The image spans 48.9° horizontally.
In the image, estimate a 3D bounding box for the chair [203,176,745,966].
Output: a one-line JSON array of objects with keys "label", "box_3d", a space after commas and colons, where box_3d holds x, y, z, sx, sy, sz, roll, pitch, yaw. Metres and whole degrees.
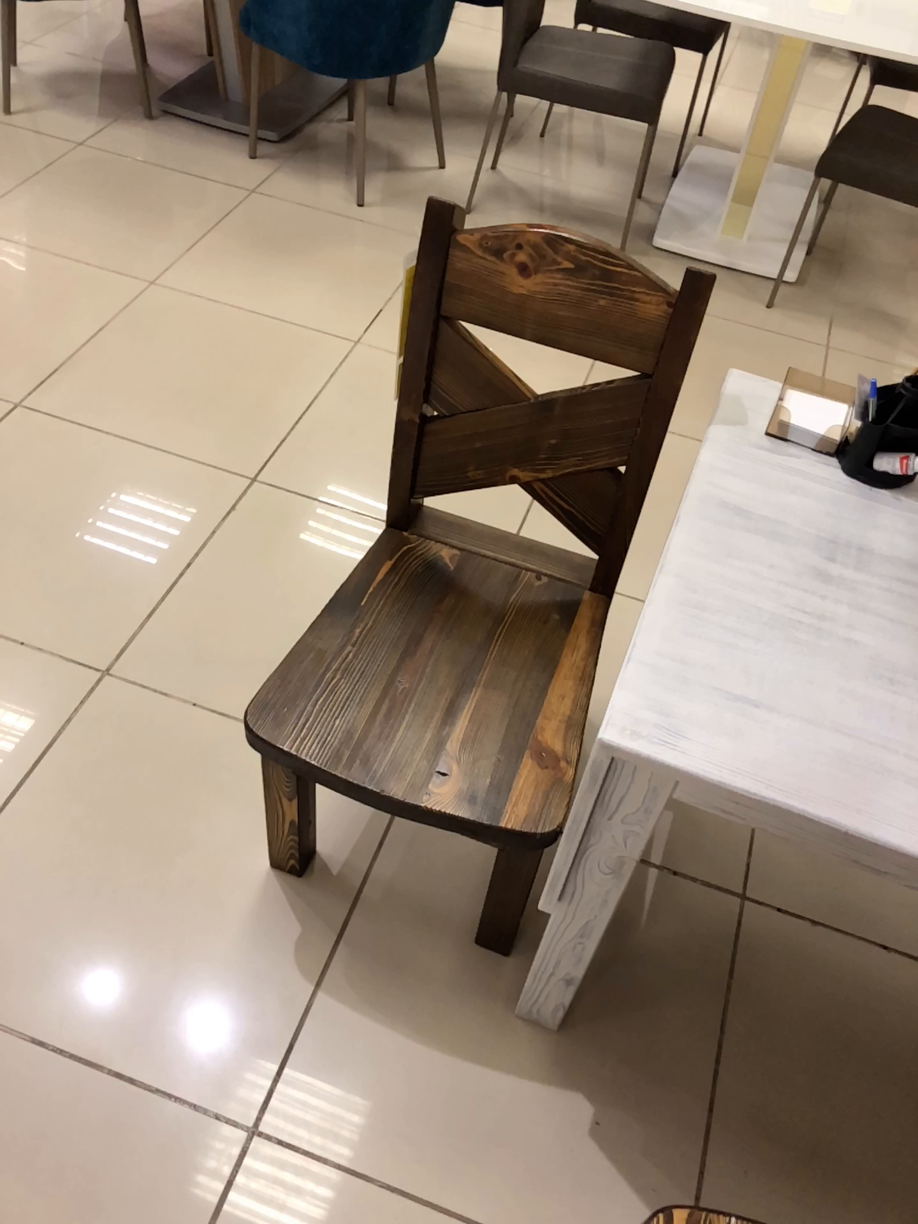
[{"label": "chair", "box_3d": [0.014, -0.016, 1.447, 0.450, 0.896, 0.573, 18, 48, 8]}]
